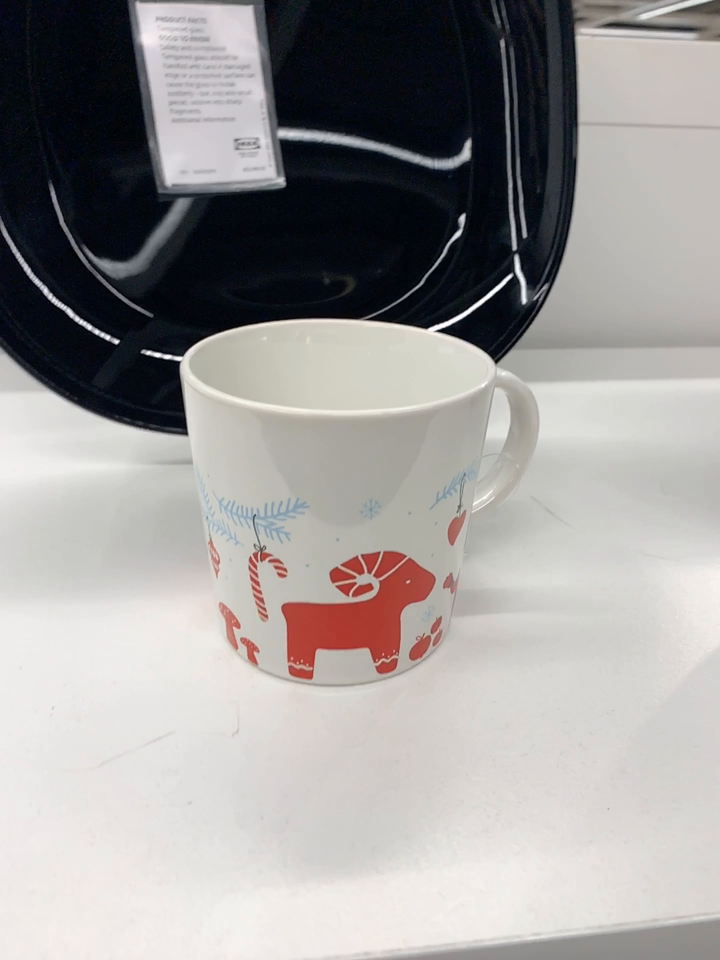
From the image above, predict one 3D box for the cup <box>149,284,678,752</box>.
[{"bbox_3d":[0.013,-0.003,0.231,0.120,0.090,0.090,-14,29,-30],"label":"cup"}]
